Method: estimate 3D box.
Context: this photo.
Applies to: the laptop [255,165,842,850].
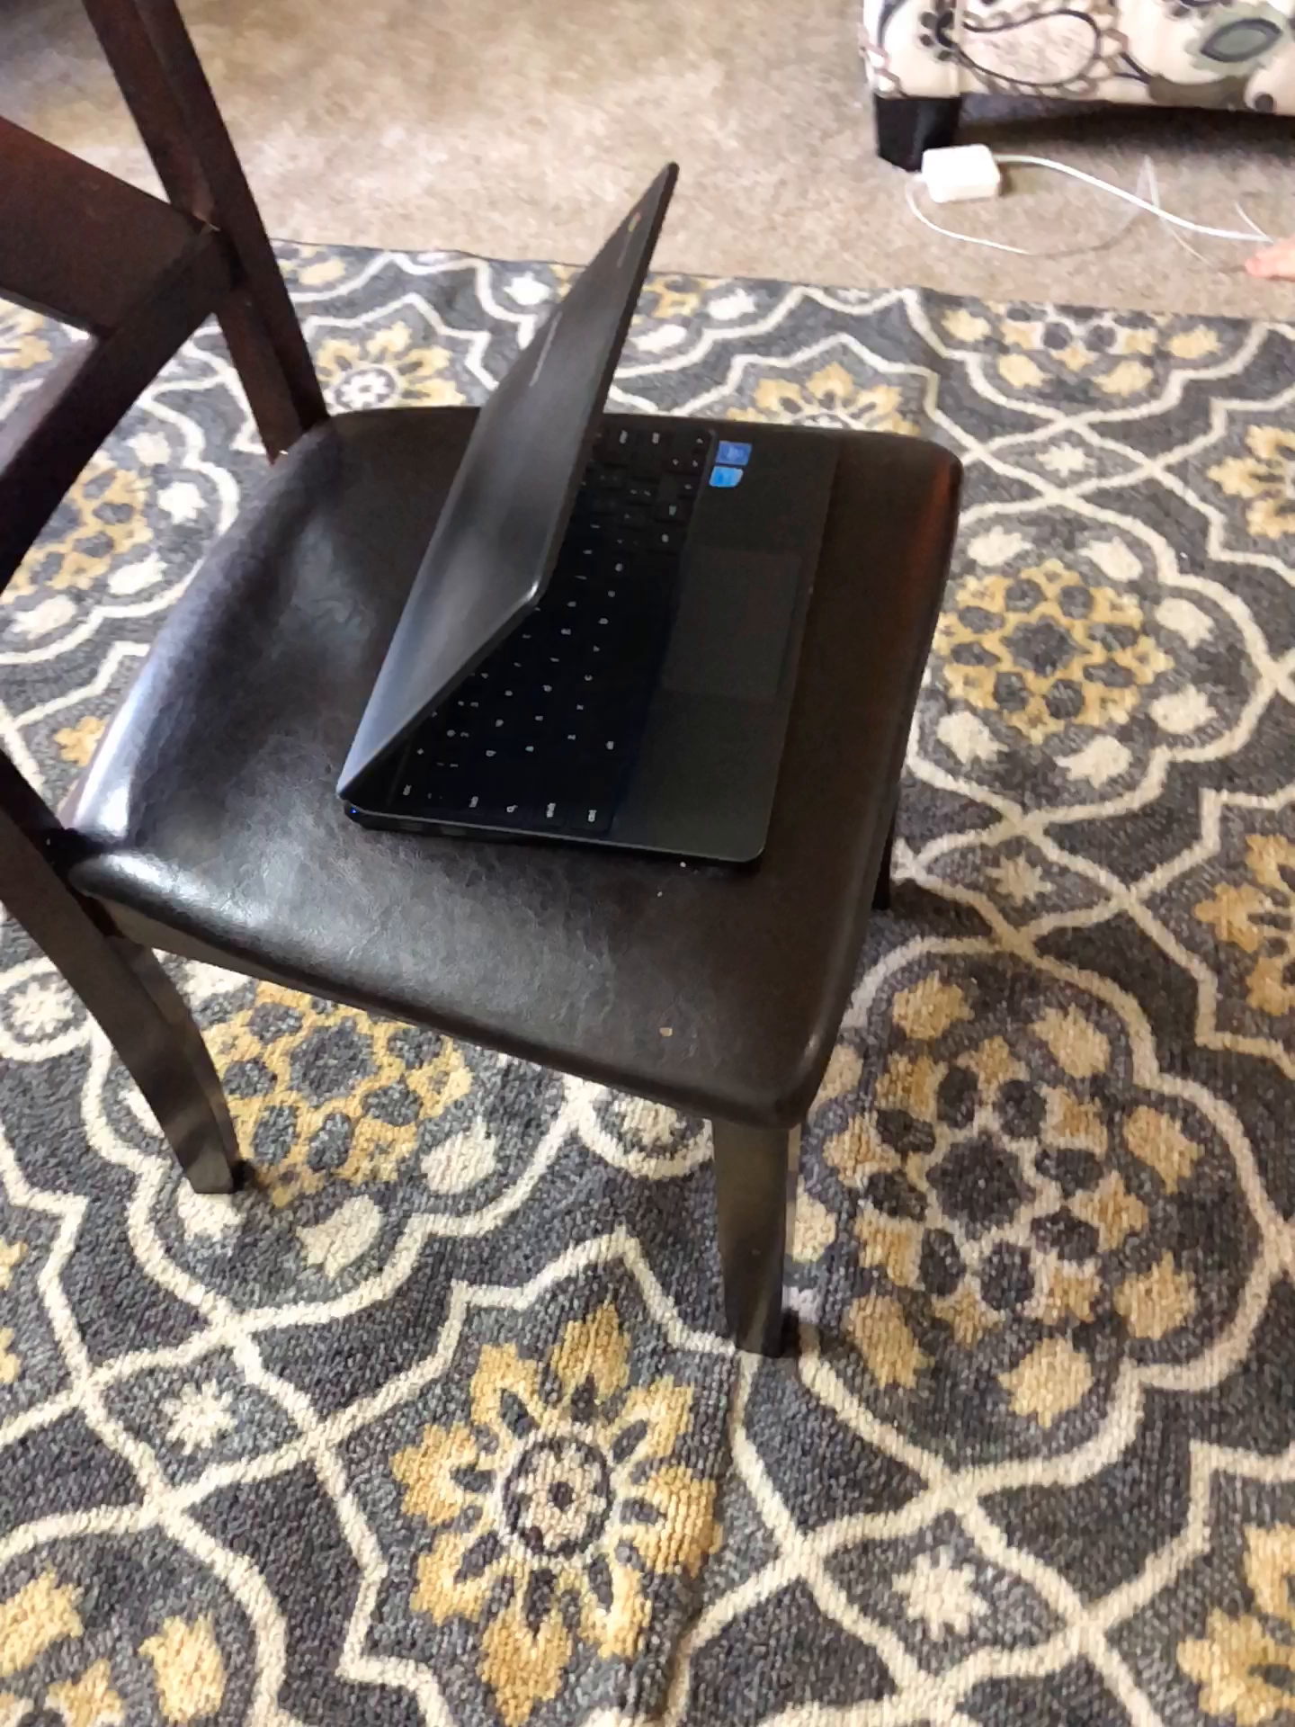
[{"bbox_3d":[-0.024,-0.170,0.654,0.191,0.155,0.264,7,56,9],"label":"laptop"}]
